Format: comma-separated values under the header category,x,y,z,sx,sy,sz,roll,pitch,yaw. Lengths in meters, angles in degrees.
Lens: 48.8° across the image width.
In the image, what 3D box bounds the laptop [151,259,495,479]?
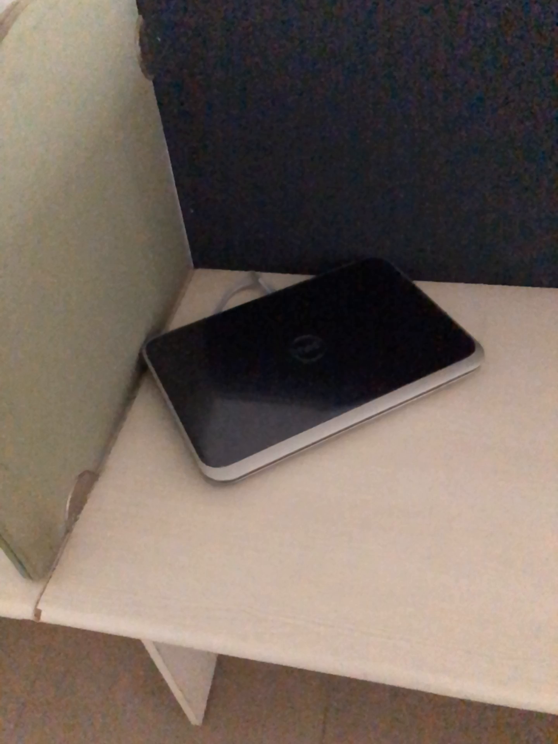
category,x,y,z,sx,sy,sz,roll,pitch,yaw
laptop,0.046,-0.025,0.815,0.371,0.010,0.247,-23,48,-12
